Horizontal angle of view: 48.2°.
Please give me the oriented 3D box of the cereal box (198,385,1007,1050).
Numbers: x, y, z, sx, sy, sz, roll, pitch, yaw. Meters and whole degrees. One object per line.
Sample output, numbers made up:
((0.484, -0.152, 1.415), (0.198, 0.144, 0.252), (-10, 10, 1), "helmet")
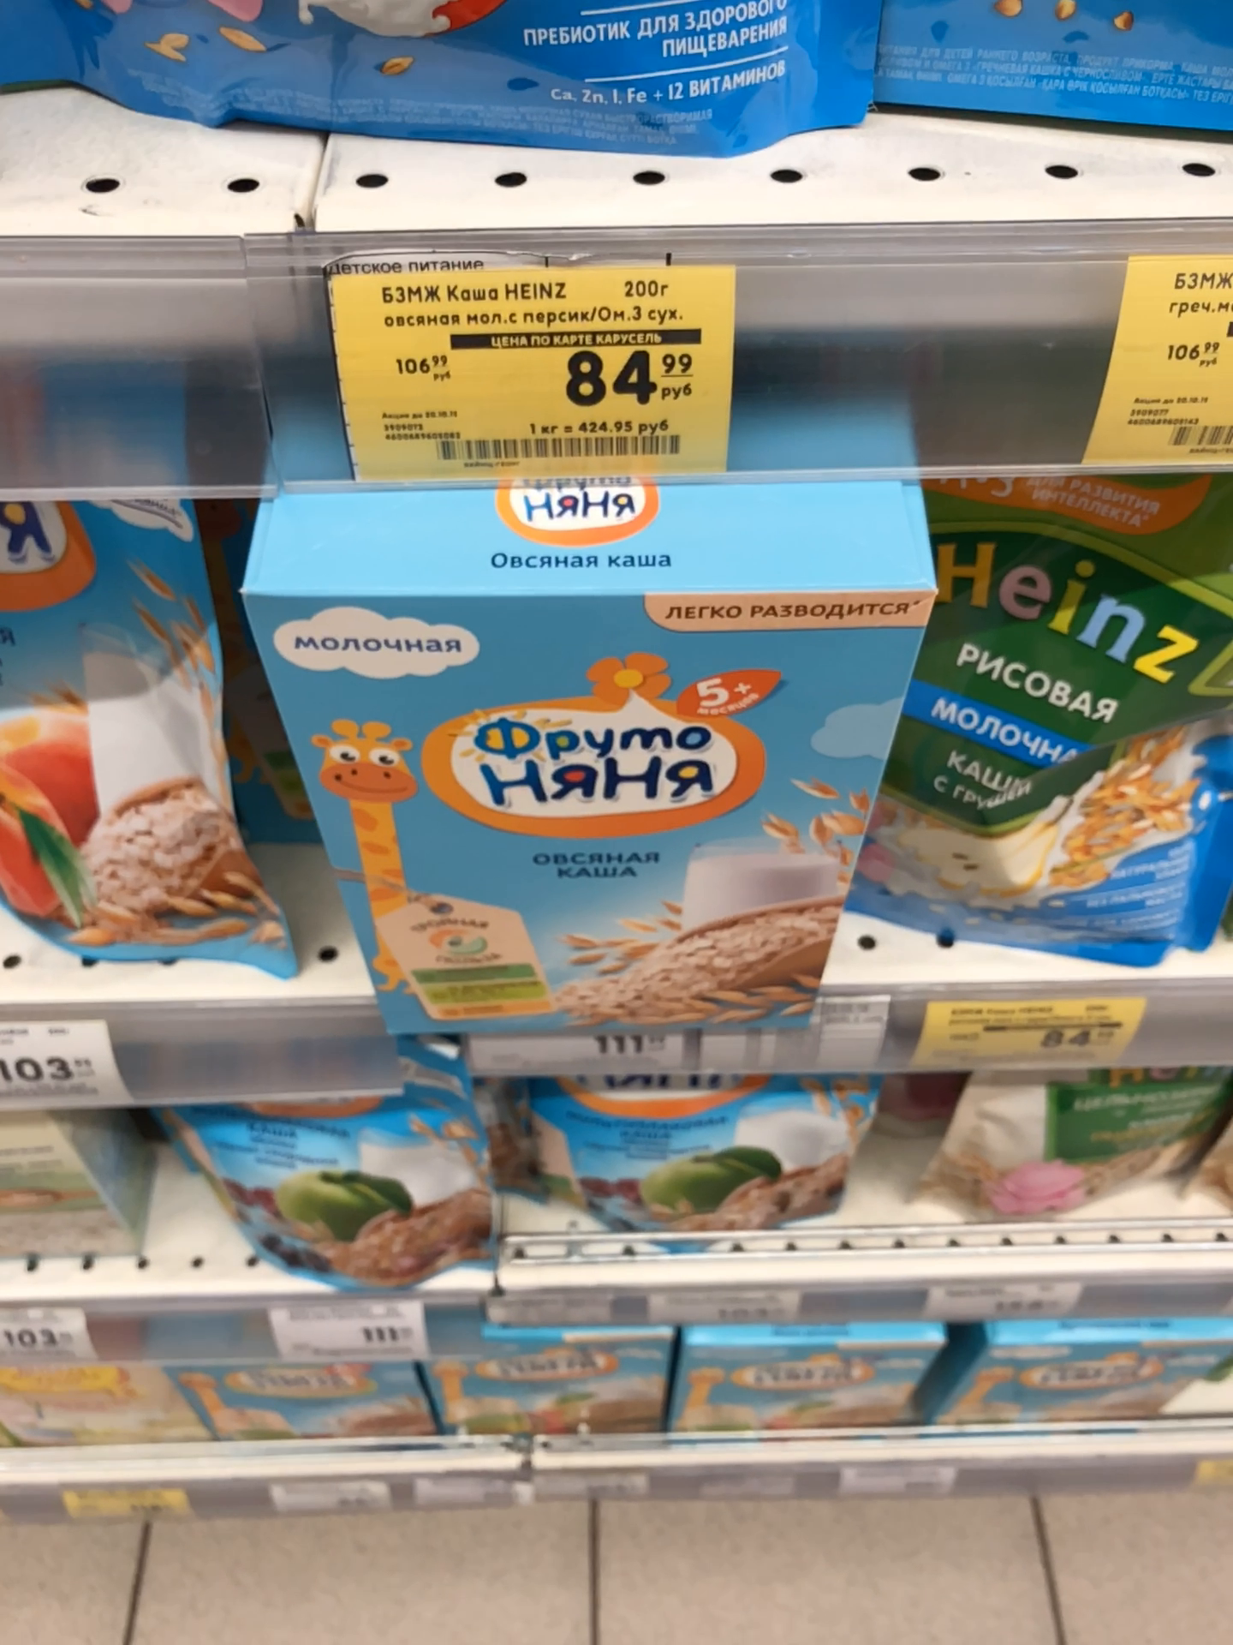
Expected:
((-0.003, -0.009, 0.336), (0.140, 0.199, 0.050), (-1, 57, -1), "cereal box")
